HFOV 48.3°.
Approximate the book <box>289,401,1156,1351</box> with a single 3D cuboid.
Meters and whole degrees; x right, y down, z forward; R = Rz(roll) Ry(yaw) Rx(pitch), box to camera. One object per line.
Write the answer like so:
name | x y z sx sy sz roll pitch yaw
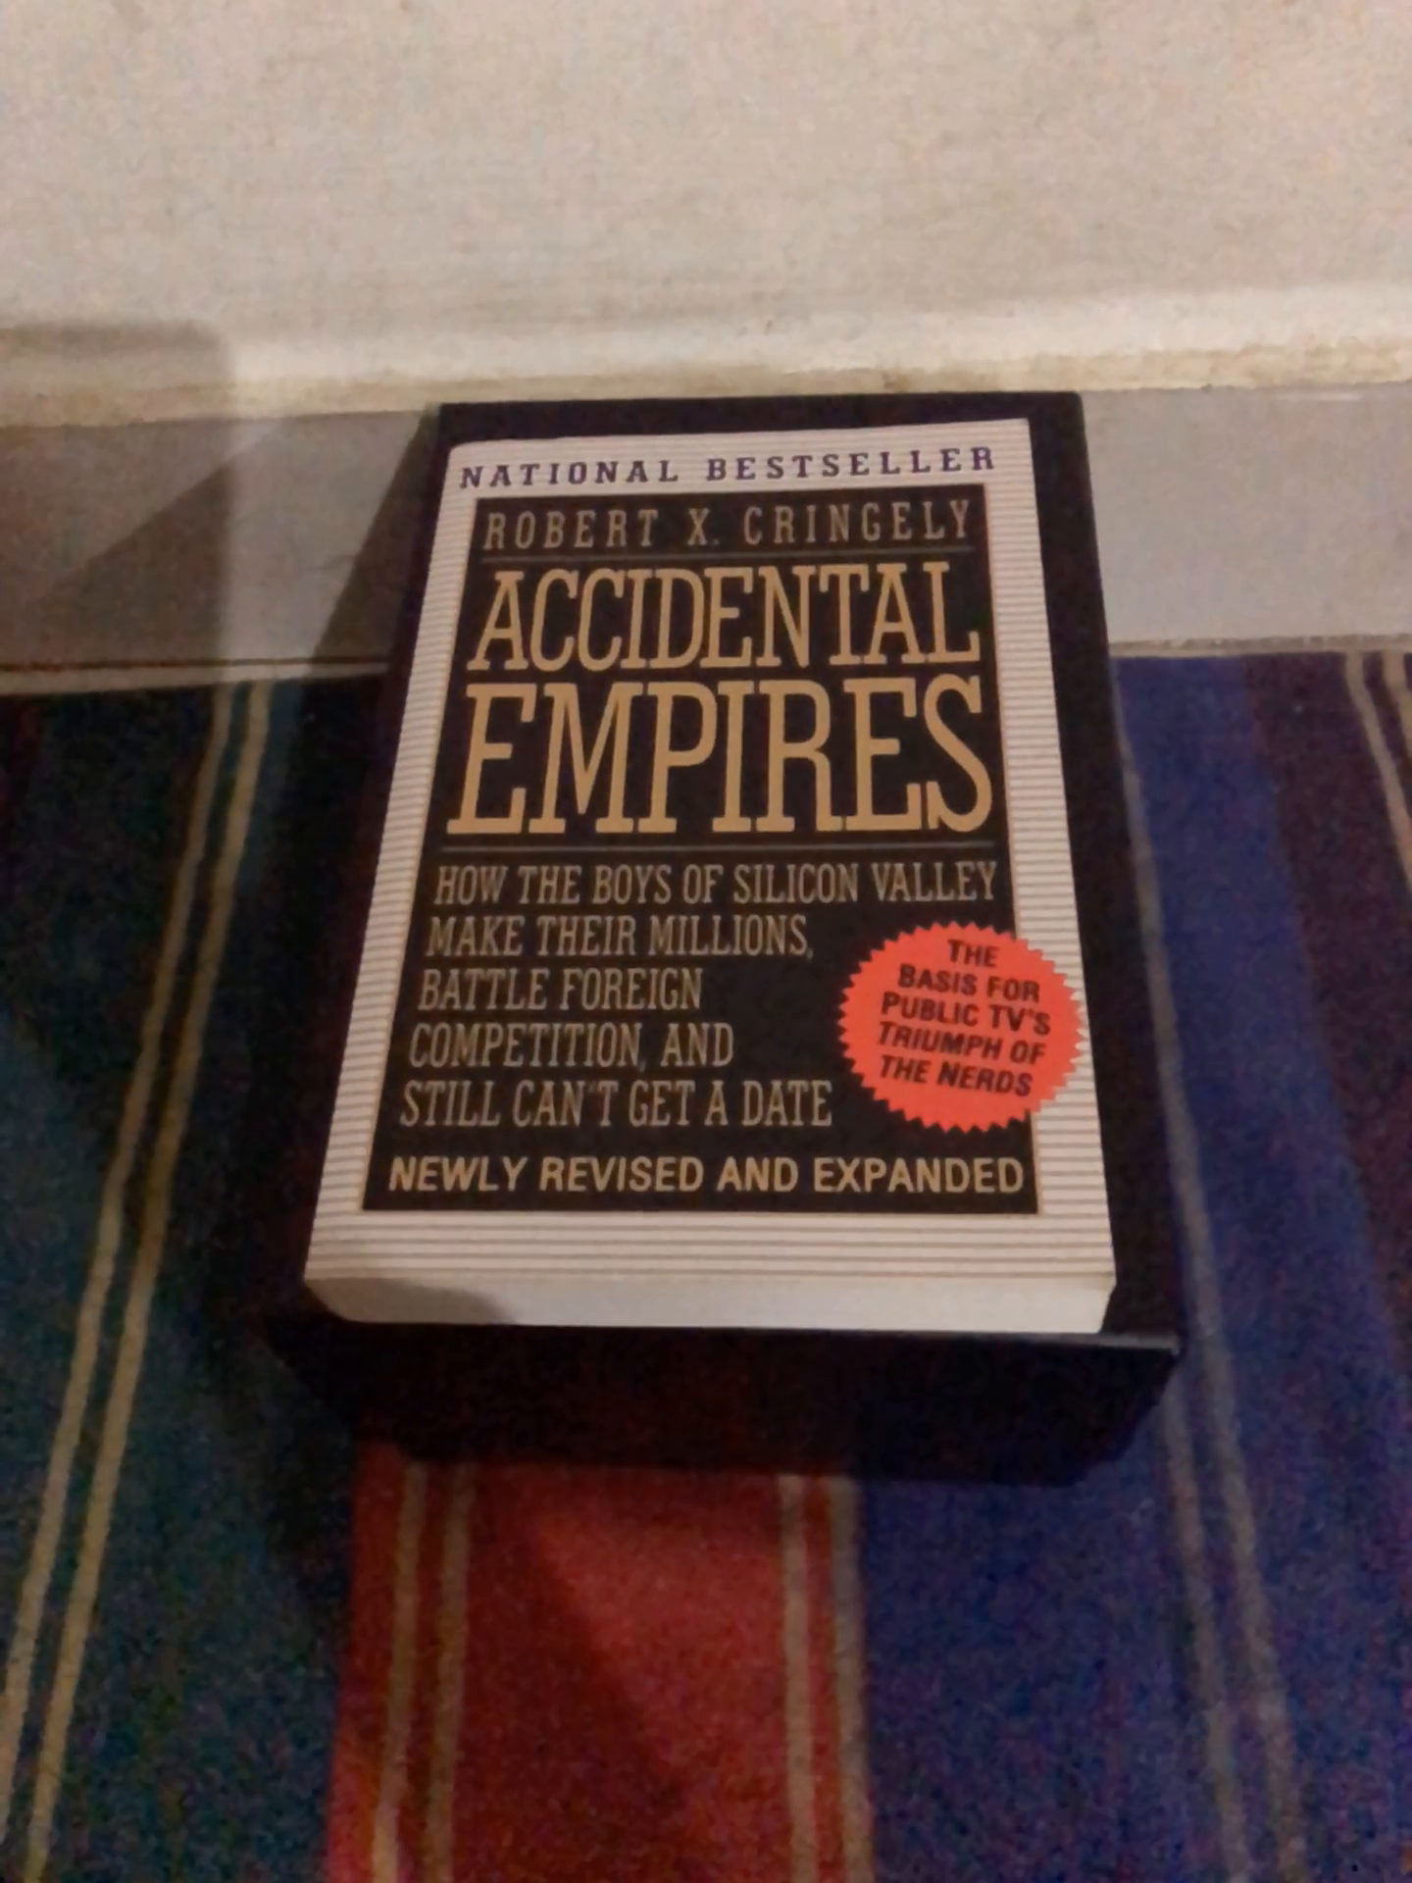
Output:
book | 0.006 -0.022 0.303 0.130 0.040 0.190 0 58 4
